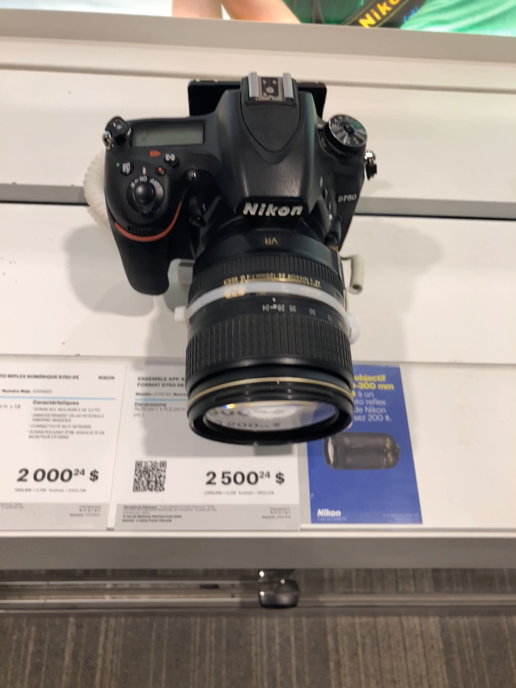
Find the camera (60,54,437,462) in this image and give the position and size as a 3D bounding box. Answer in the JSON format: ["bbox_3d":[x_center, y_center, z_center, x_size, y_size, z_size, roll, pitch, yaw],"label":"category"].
[{"bbox_3d":[-0.010,-0.046,0.298,0.138,0.099,0.184,-1,60,-5],"label":"camera"}]
